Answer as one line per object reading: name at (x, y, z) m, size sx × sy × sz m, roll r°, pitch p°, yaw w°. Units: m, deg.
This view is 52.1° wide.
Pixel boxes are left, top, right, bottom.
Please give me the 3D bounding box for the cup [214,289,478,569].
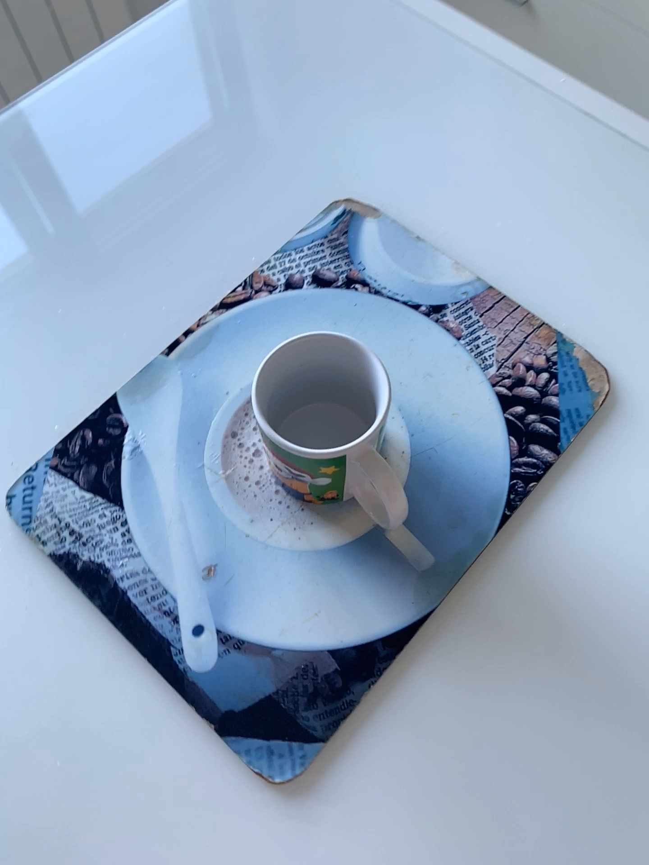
cup at (0.011, -0.002, 0.426) m, size 0.094 × 0.077 × 0.134 m, roll -35°, pitch 70°, yaw -14°
